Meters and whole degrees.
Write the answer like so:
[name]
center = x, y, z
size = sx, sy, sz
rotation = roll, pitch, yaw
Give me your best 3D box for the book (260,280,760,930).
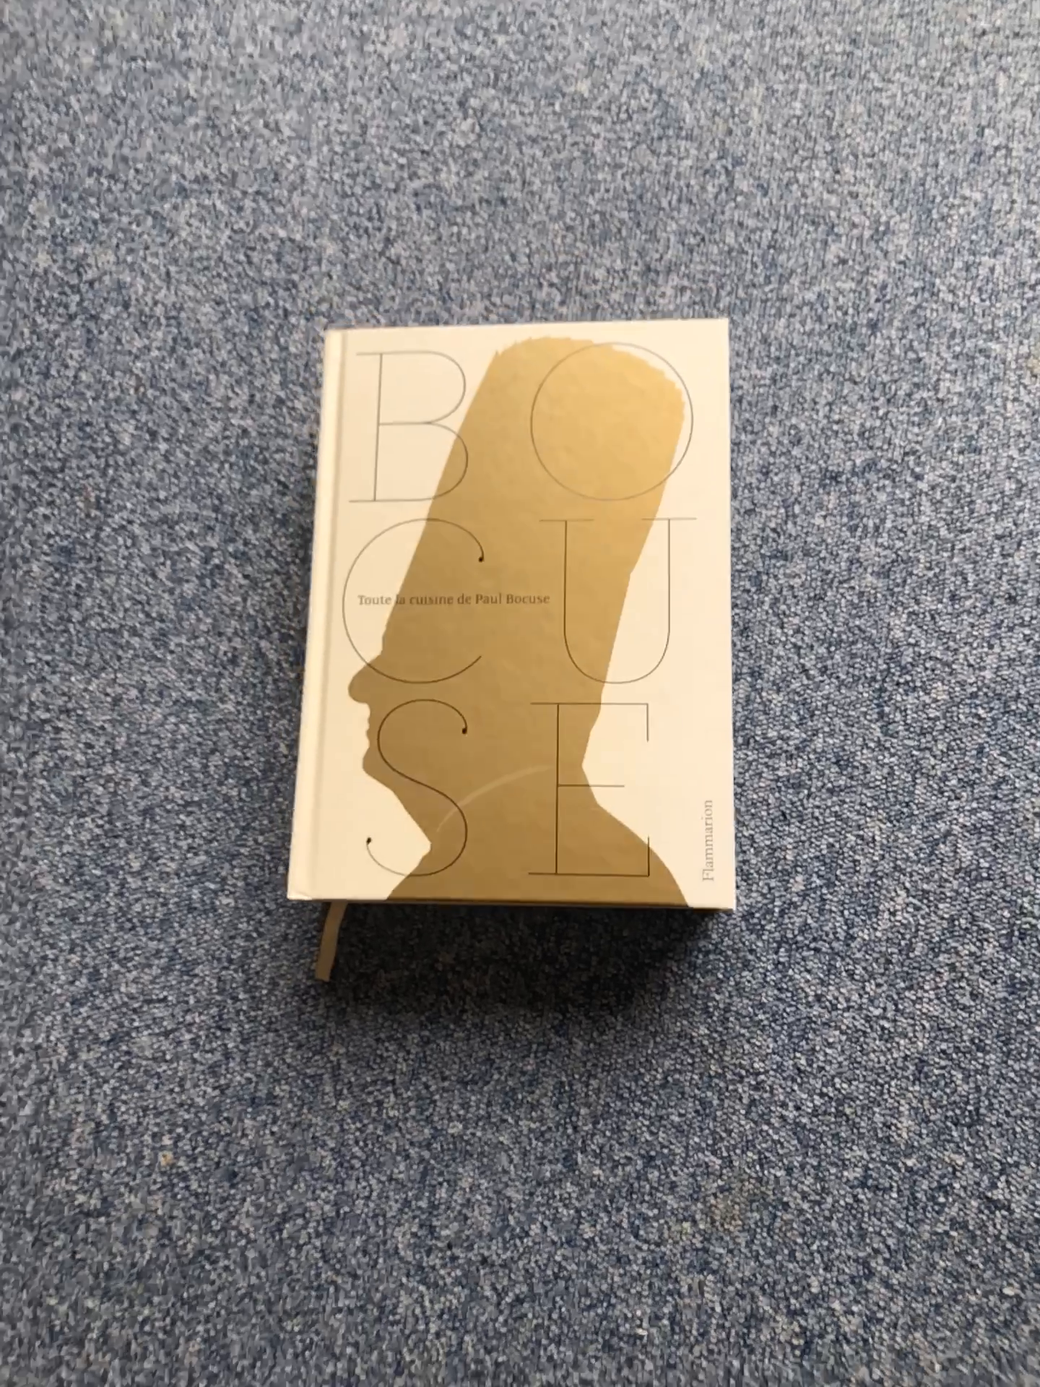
[book]
center = 0.003, -0.039, 0.525
size = 0.200, 0.080, 0.280
rotation = 1, 77, 6
